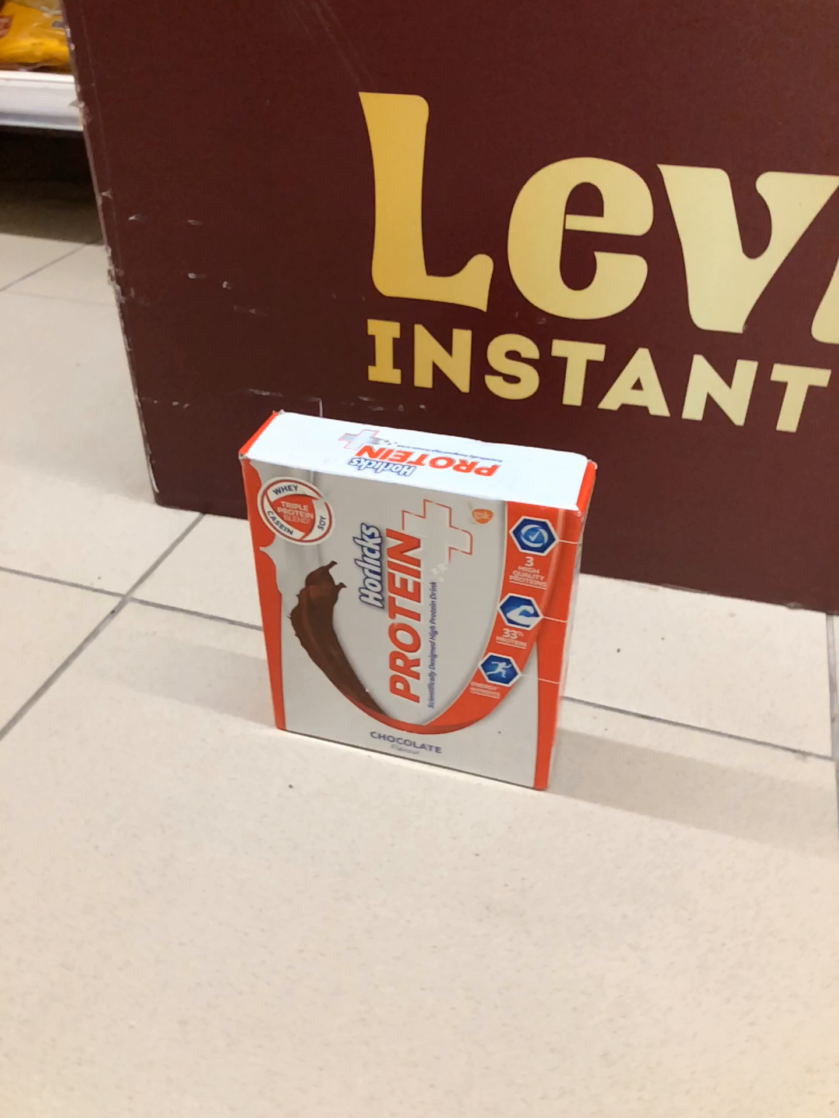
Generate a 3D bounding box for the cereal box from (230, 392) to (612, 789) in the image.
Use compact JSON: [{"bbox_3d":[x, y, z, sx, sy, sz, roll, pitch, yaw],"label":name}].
[{"bbox_3d":[0.001,0.015,0.404,0.140,0.149,0.050,10,37,14],"label":"cereal box"}]
